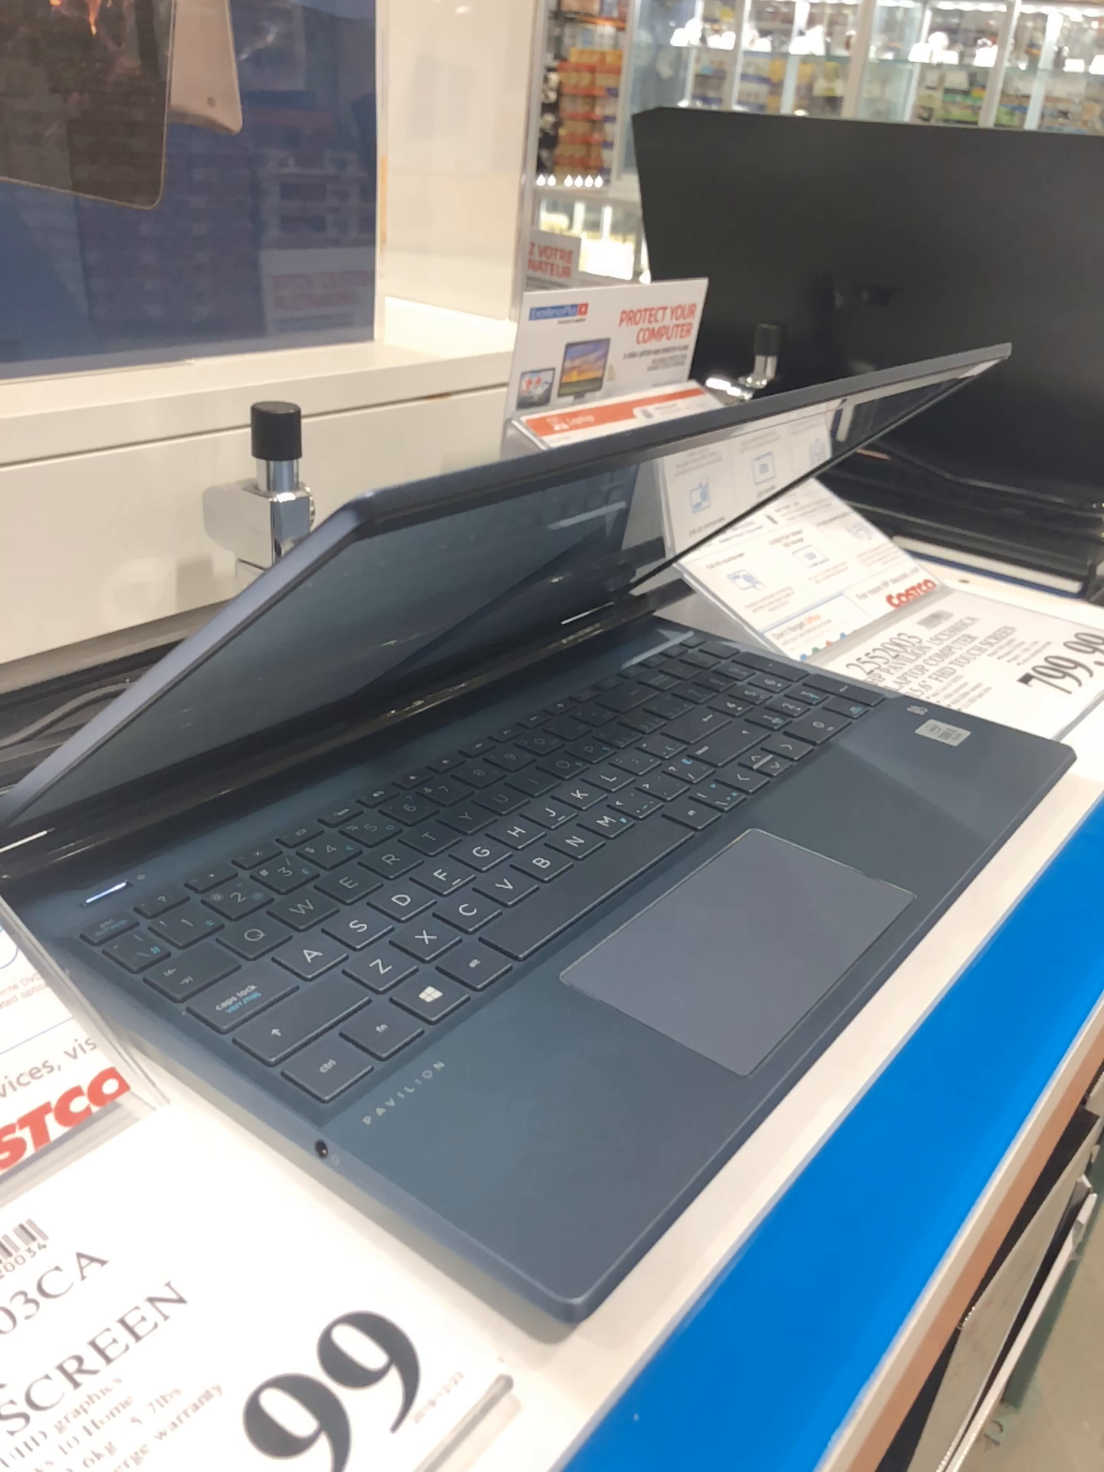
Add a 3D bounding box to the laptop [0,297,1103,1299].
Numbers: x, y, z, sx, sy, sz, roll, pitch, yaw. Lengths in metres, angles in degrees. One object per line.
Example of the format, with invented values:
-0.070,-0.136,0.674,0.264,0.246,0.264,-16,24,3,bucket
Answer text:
0.031,-0.041,0.396,0.218,0.149,0.347,22,31,31,laptop
